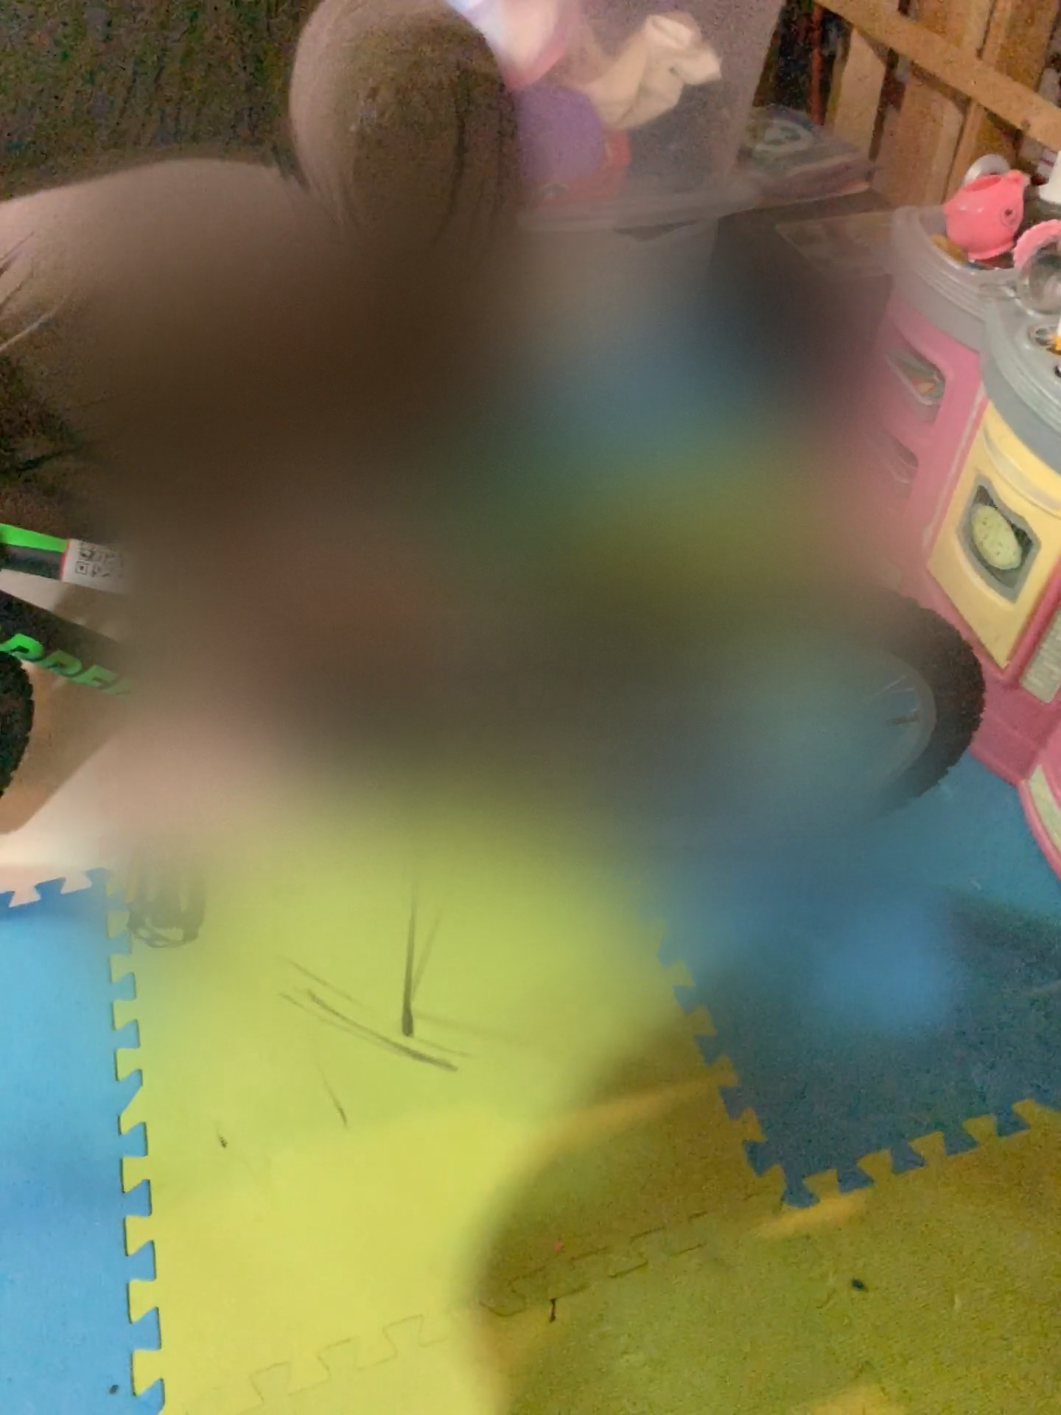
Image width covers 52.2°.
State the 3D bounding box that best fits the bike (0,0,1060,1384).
[{"bbox_3d":[-0.224,-0.009,0.884,1.268,0.841,0.536,-11,48,-5],"label":"bike"}]
